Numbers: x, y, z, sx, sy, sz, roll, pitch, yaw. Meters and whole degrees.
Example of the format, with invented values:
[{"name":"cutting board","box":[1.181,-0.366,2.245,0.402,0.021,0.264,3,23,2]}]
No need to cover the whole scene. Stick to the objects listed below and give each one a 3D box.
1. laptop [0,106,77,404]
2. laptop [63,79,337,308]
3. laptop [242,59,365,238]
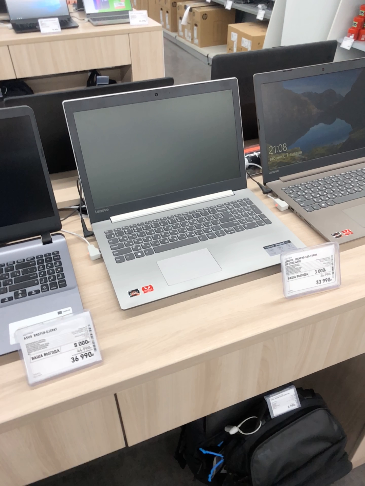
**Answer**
[{"name":"laptop","box":[-0.364,-0.017,0.613,0.327,0.232,0.320,-13,40,-16]},{"name":"laptop","box":[0.008,-0.123,0.753,0.365,0.220,0.336,-15,41,-16]},{"name":"laptop","box":[0.393,-0.226,0.870,0.357,0.222,0.327,-16,41,-18]}]
